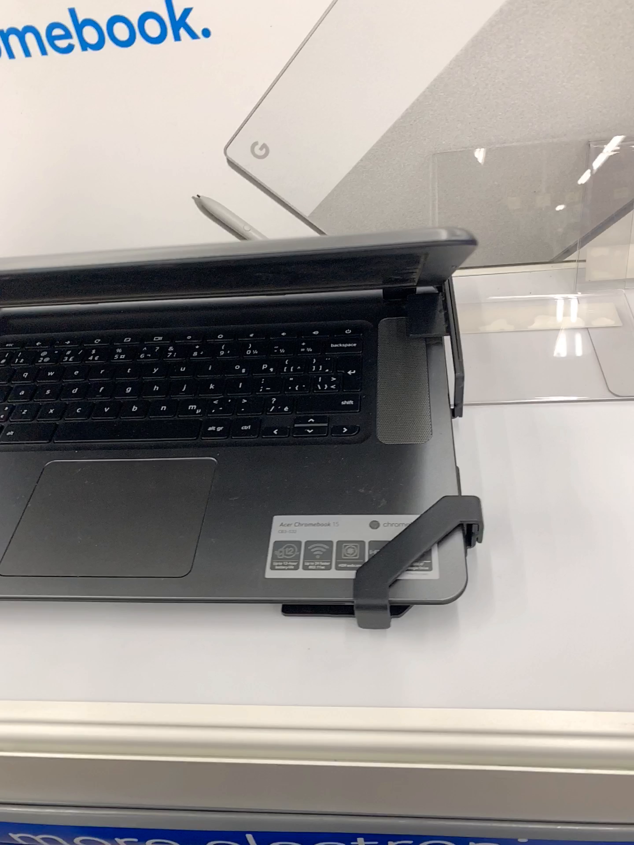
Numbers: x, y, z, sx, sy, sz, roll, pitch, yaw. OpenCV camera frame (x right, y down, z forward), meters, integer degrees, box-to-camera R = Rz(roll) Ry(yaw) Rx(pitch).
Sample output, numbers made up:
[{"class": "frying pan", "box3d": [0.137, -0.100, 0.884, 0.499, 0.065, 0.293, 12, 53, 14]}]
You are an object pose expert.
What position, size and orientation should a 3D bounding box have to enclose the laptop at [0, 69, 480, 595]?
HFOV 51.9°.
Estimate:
[{"class": "laptop", "box3d": [-0.095, -0.044, 0.291, 0.301, 0.116, 0.194, -2, 47, 8]}]
